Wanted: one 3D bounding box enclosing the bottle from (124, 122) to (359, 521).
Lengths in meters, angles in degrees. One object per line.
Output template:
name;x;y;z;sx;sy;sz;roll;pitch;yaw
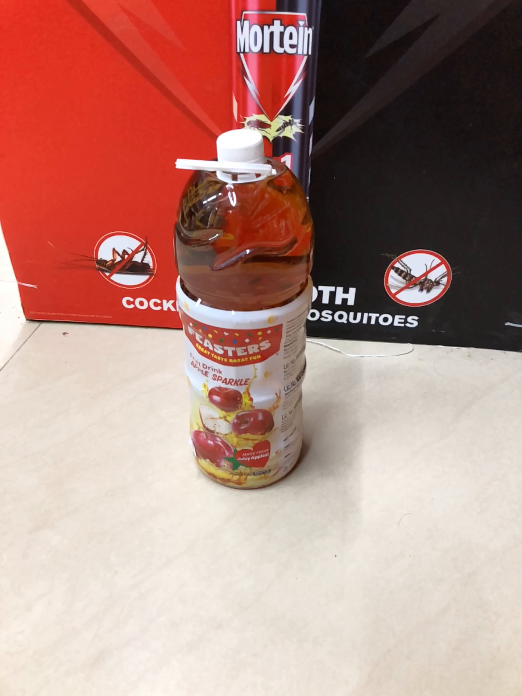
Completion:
bottle;-0.008;-0.012;0.445;0.120;0.278;0.101;13;37;18
